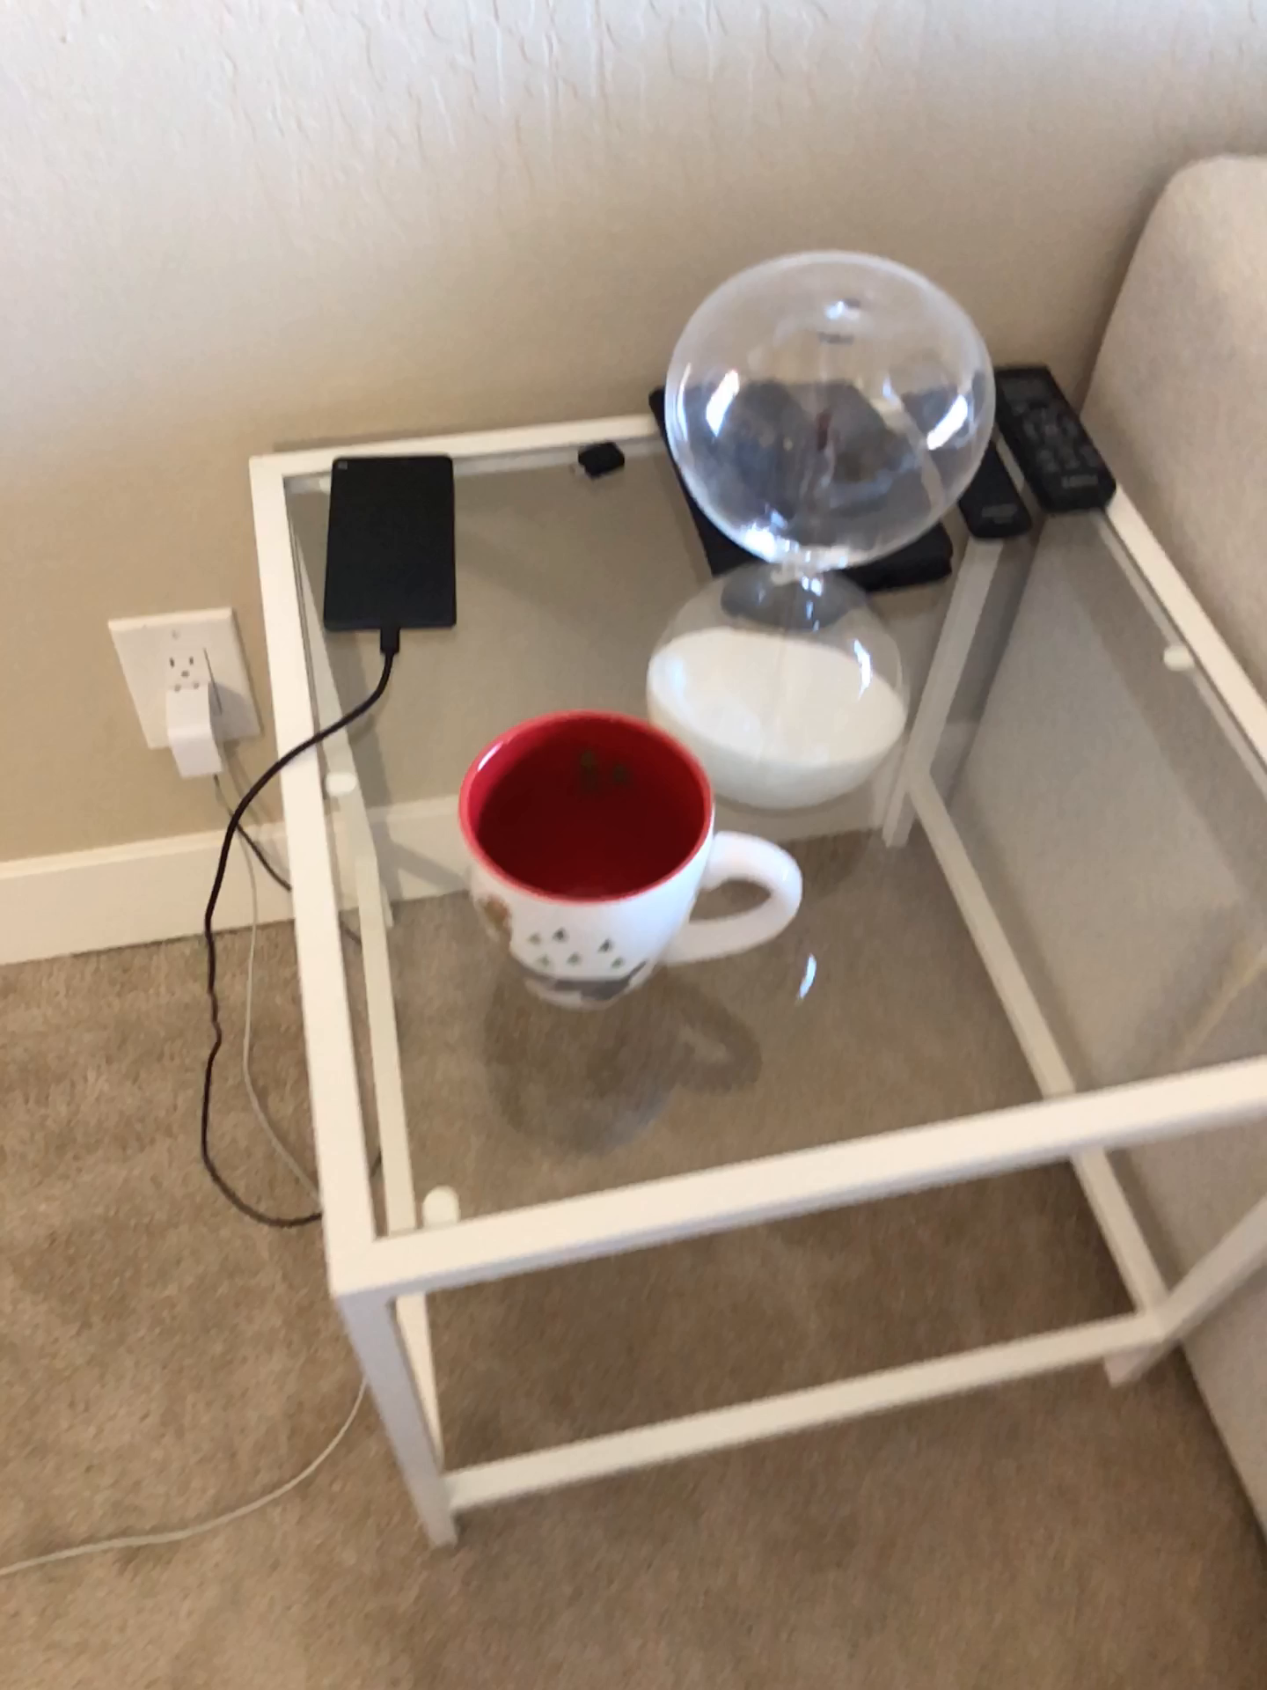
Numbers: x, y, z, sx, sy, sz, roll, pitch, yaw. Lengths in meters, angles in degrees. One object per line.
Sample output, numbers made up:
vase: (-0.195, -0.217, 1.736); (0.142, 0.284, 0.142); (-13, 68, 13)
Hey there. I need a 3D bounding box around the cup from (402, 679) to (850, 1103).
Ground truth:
cup: (-0.001, 0.020, 0.570); (0.150, 0.110, 0.100); (11, 53, 6)
